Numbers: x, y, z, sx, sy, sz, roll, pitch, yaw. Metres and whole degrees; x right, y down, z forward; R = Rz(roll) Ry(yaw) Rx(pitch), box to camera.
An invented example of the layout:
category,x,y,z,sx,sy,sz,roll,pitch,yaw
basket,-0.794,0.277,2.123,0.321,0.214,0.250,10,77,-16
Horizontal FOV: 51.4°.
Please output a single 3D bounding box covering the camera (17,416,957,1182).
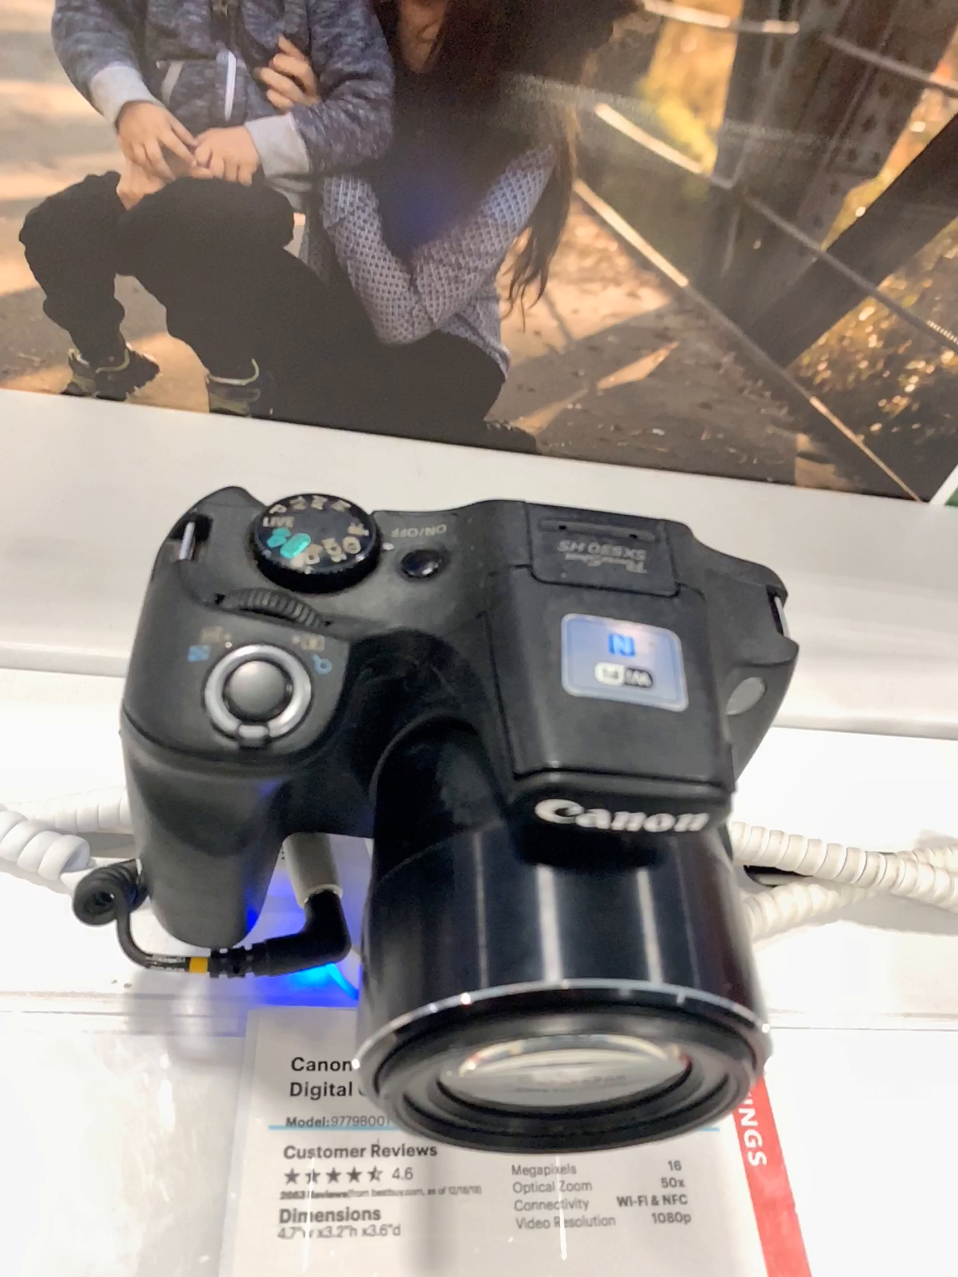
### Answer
category,x,y,z,sx,sy,sz,roll,pitch,yaw
camera,0.002,0.028,0.171,0.124,0.080,0.090,4,44,-12
